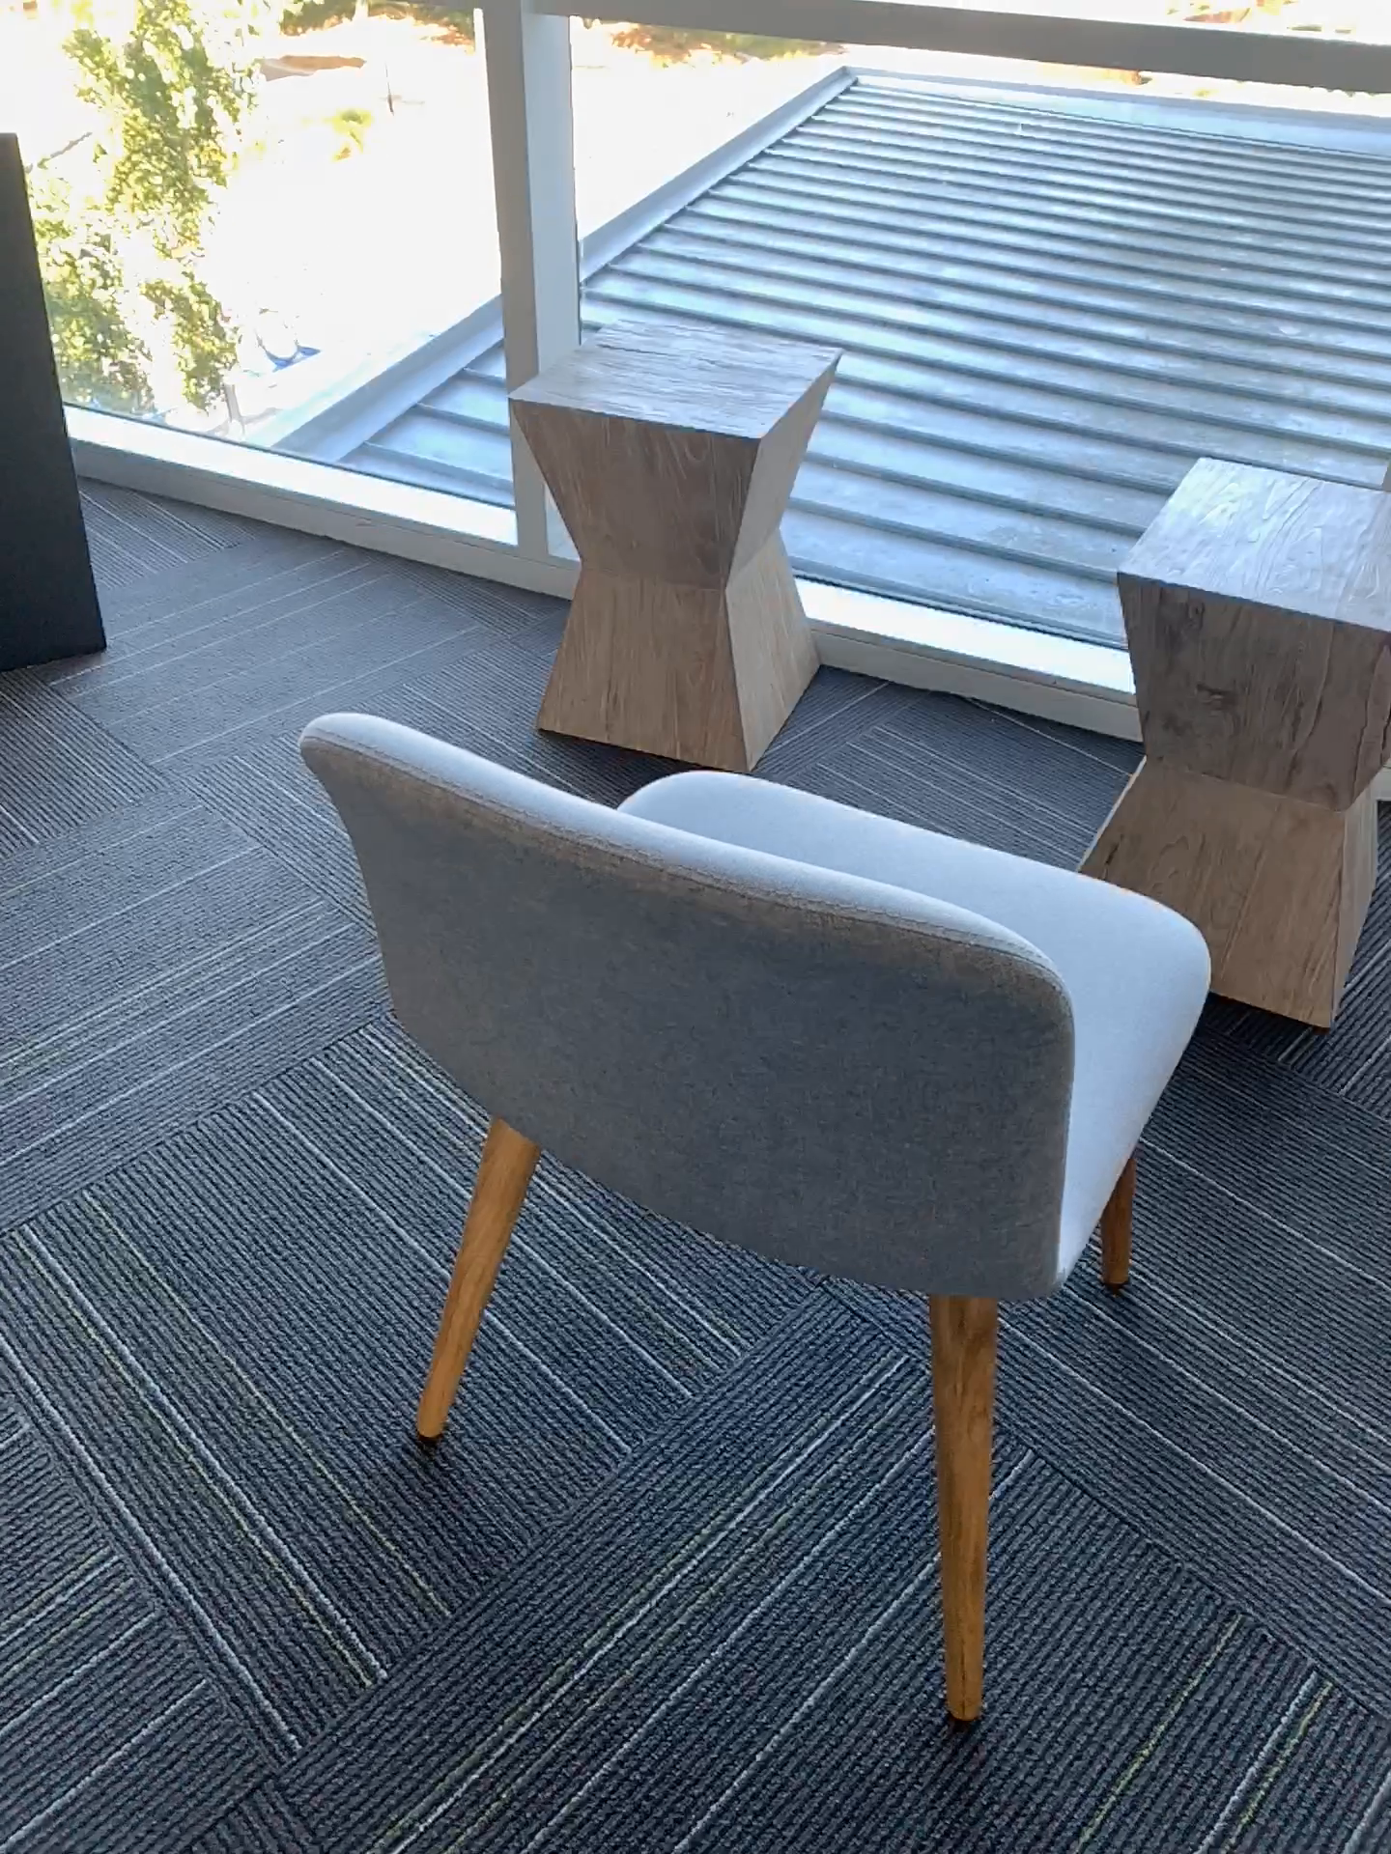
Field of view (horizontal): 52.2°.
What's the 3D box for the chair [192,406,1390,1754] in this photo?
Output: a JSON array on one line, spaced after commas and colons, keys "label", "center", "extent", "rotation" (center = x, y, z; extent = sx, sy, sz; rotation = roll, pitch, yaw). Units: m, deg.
[{"label": "chair", "center": [0.081, 0.087, 1.013], "extent": [0.541, 0.676, 0.472], "rotation": [19, 42, 20]}]
